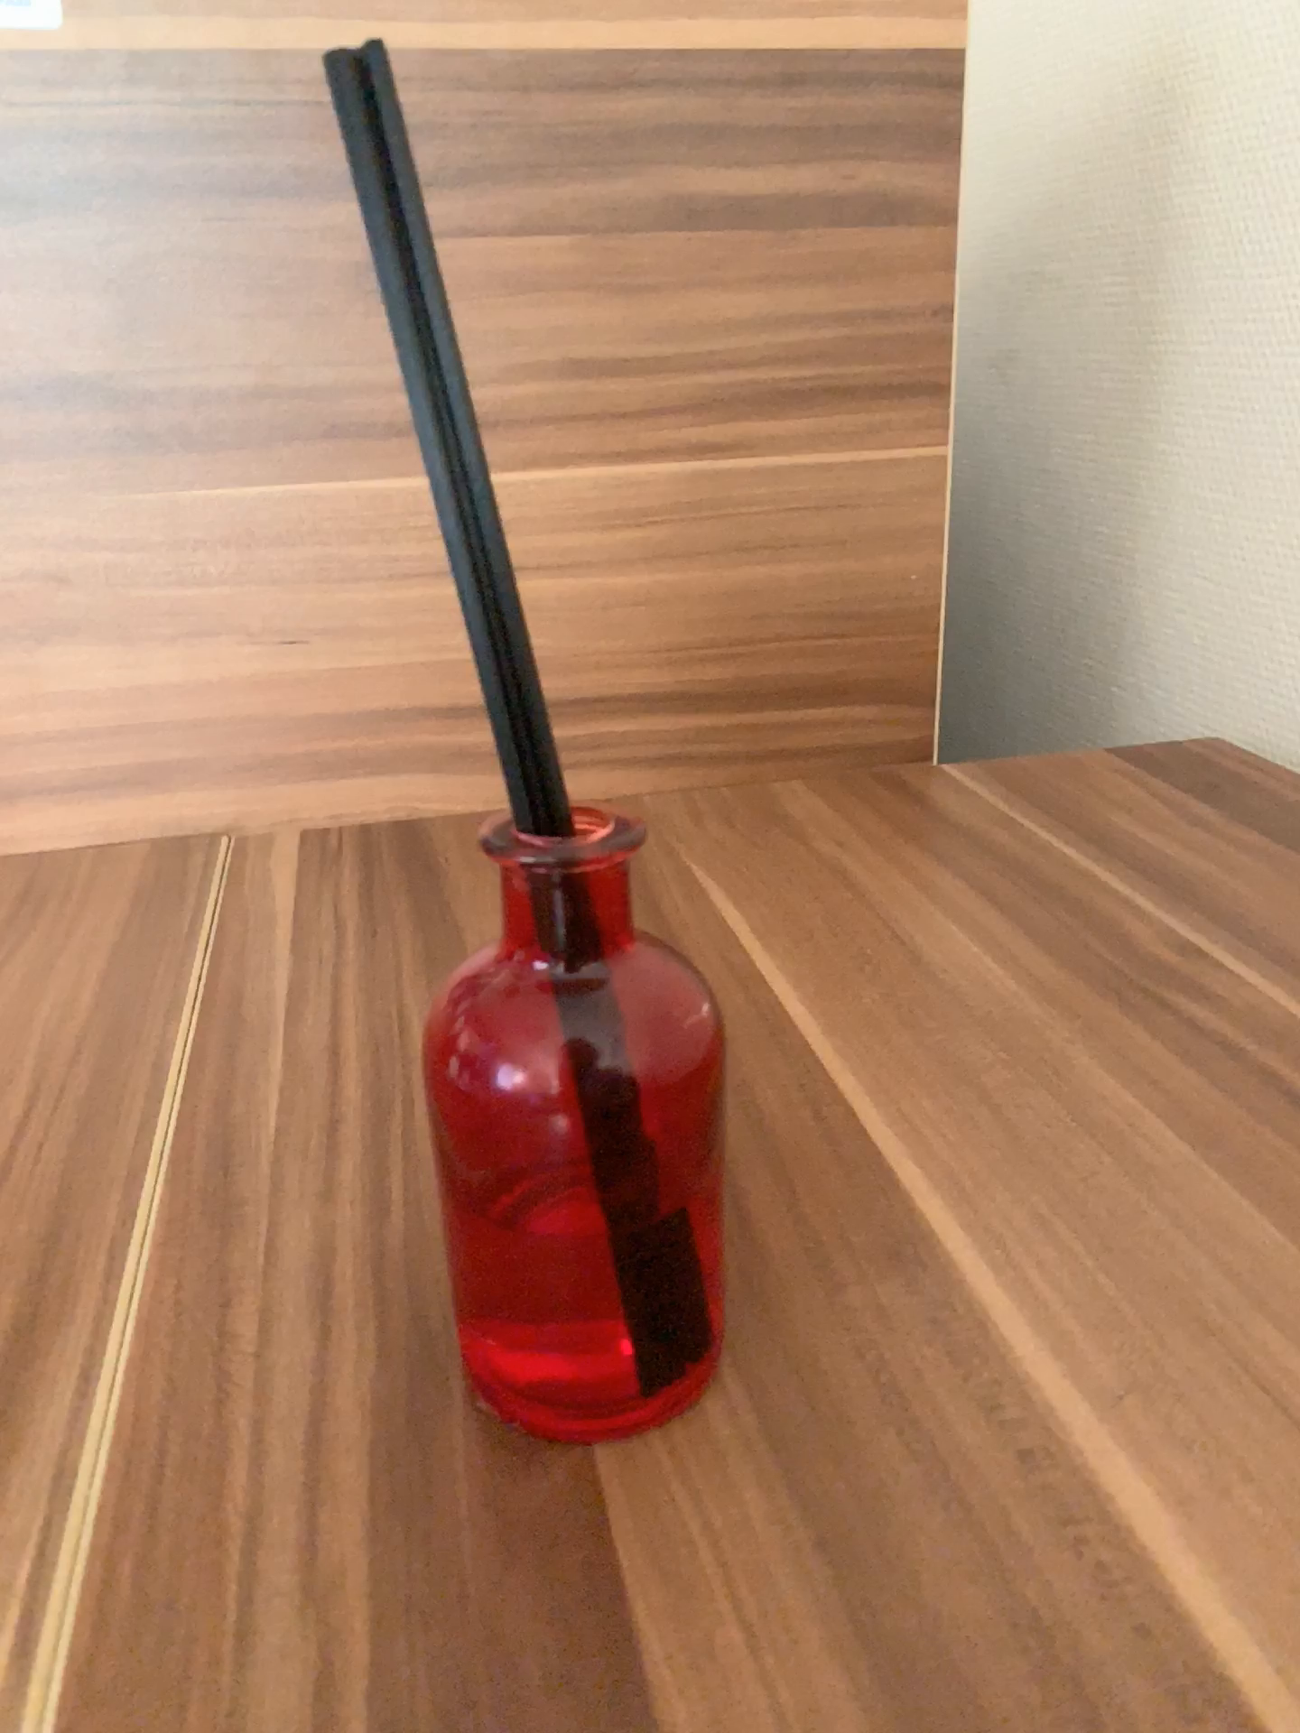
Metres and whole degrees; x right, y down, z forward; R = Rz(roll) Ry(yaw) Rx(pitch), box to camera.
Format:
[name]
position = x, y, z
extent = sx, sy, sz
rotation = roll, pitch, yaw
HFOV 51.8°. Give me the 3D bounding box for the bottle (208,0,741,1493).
[bottle]
position = -0.020, -0.010, 0.225
extent = 0.060, 0.239, 0.050
rotation = -5, 21, -6
